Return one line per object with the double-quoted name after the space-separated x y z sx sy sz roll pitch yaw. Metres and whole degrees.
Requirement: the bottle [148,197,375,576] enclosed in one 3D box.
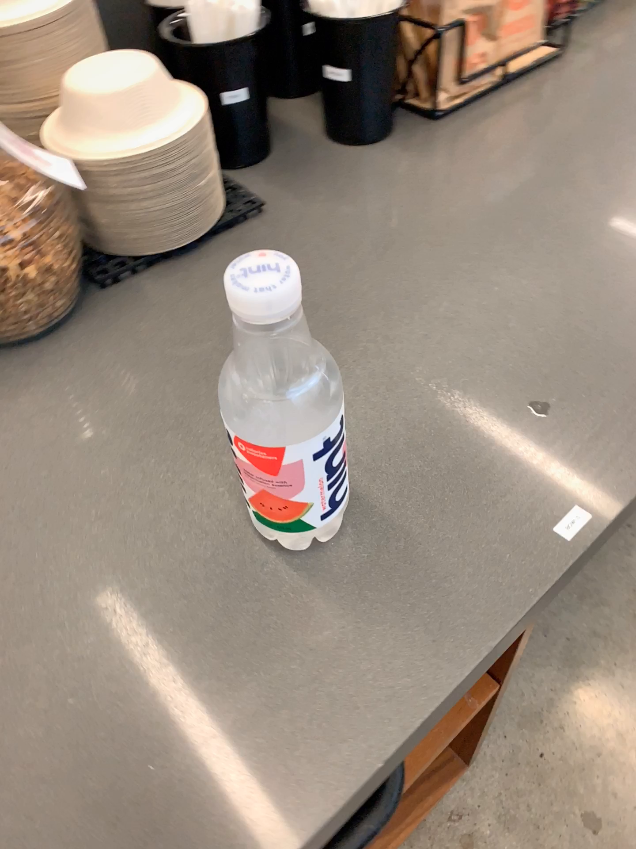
-0.018 -0.008 0.360 0.070 0.199 0.070 -3 50 3 "bottle"
